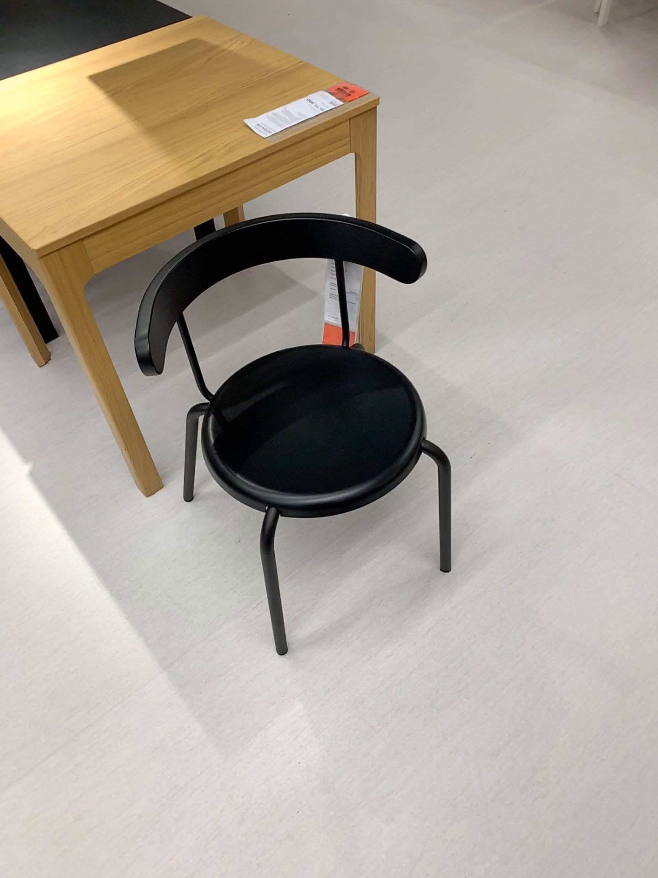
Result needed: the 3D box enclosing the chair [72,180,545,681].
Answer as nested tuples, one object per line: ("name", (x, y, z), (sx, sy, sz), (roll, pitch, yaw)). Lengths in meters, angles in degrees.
("chair", (-0.057, -0.026, 1.350), (0.590, 0.598, 0.612), (-22, 53, -15))
